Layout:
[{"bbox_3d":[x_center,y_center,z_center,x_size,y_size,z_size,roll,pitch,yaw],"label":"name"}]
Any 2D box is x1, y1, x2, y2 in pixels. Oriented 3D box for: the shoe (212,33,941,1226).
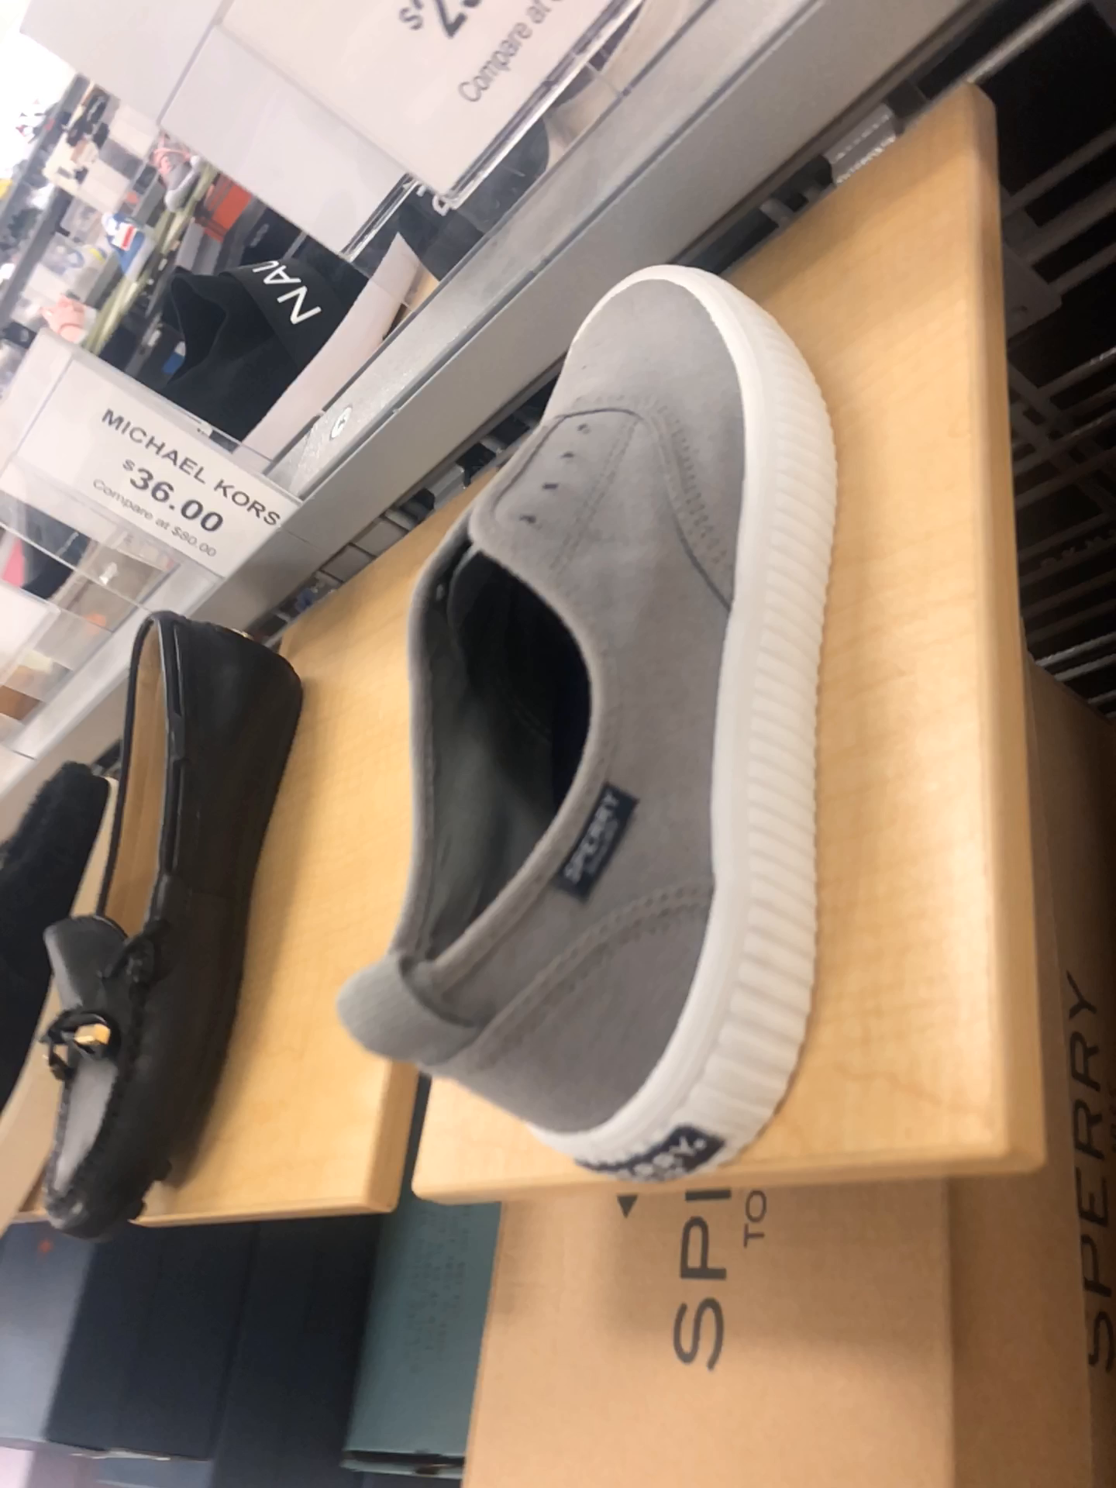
[{"bbox_3d":[0.009,-0.036,0.282,0.097,0.081,0.251,-31,41,40],"label":"shoe"}]
